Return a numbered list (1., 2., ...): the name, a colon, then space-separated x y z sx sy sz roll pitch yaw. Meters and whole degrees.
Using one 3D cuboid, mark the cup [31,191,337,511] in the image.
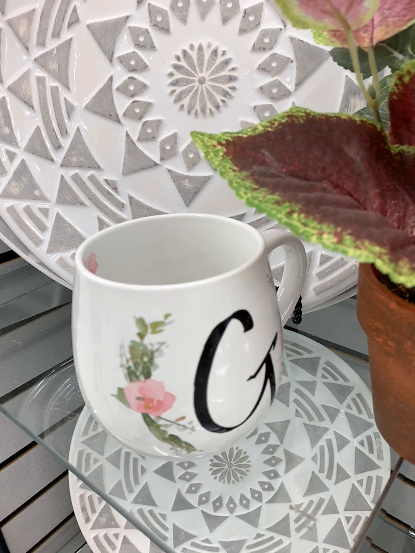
1. cup: -0.011 0.021 0.205 0.100 0.090 0.089 -19 31 -32
